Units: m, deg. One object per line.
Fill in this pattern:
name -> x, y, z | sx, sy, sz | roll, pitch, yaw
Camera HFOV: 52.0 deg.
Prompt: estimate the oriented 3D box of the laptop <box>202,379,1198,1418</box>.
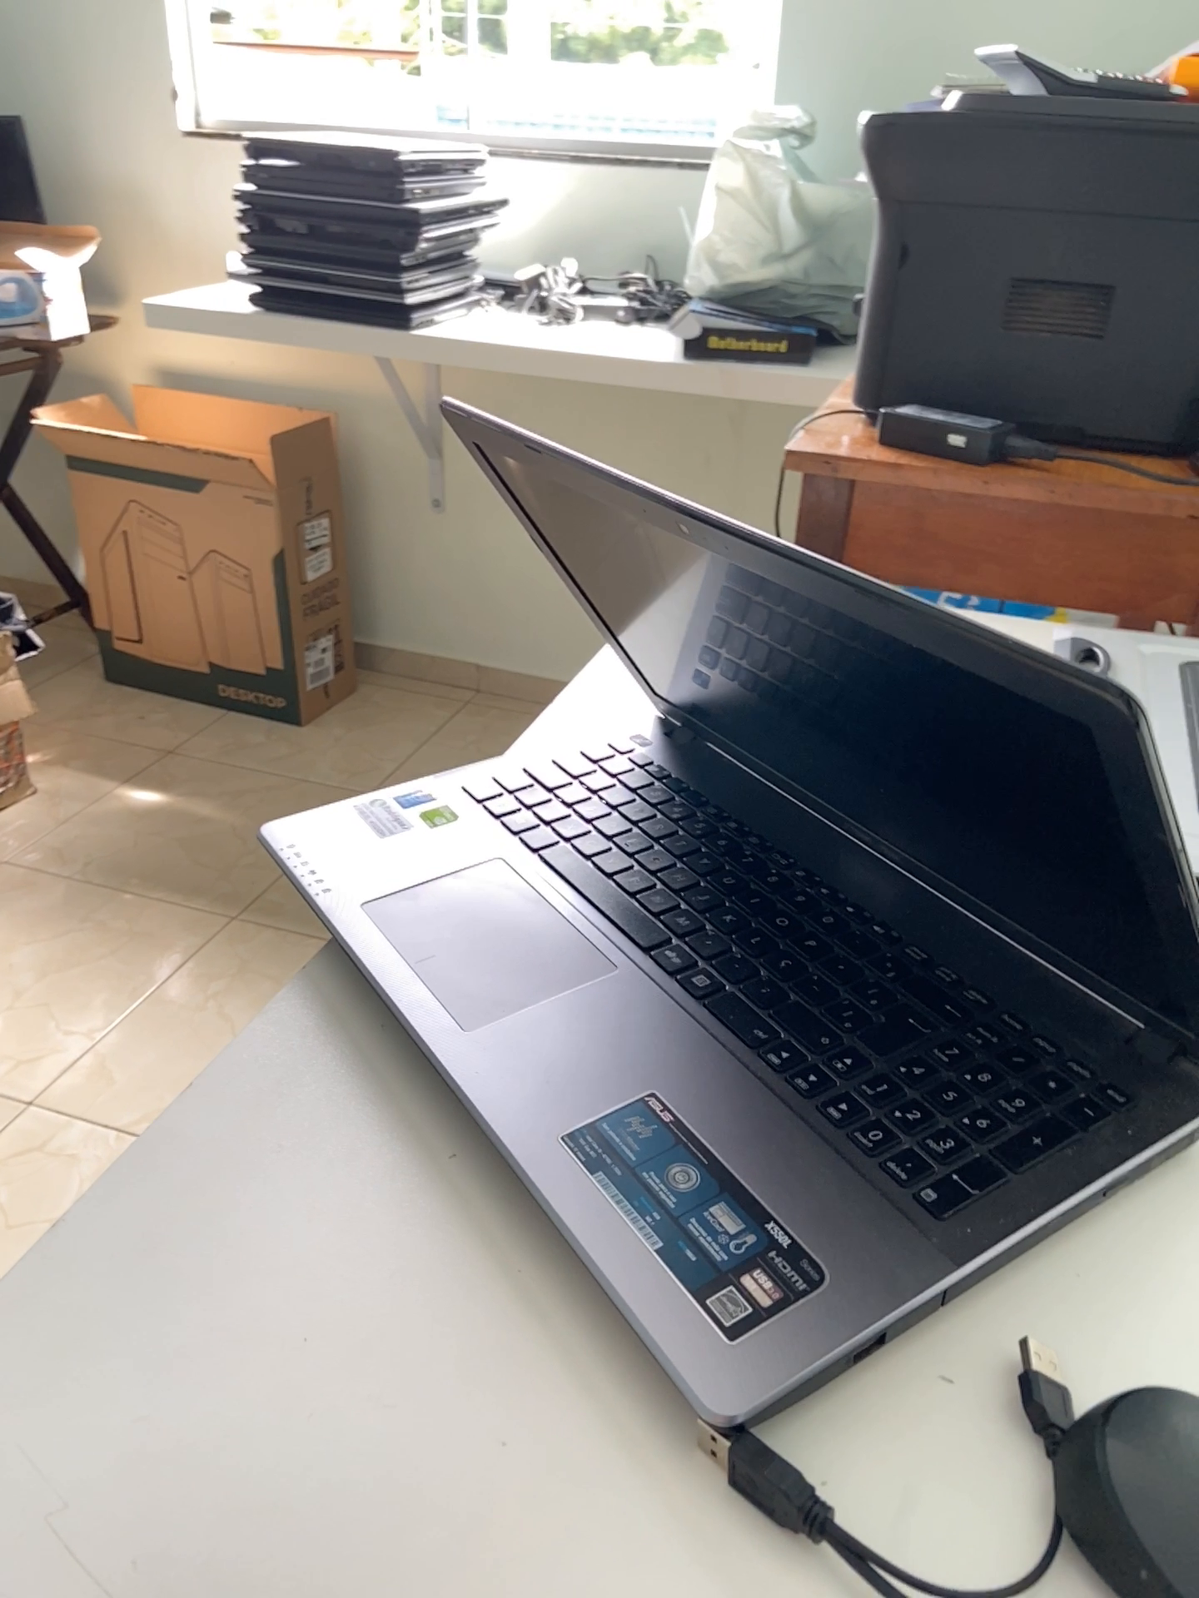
laptop -> 0.036, -0.022, 0.482 | 0.246, 0.190, 0.366 | -17, 34, -29
